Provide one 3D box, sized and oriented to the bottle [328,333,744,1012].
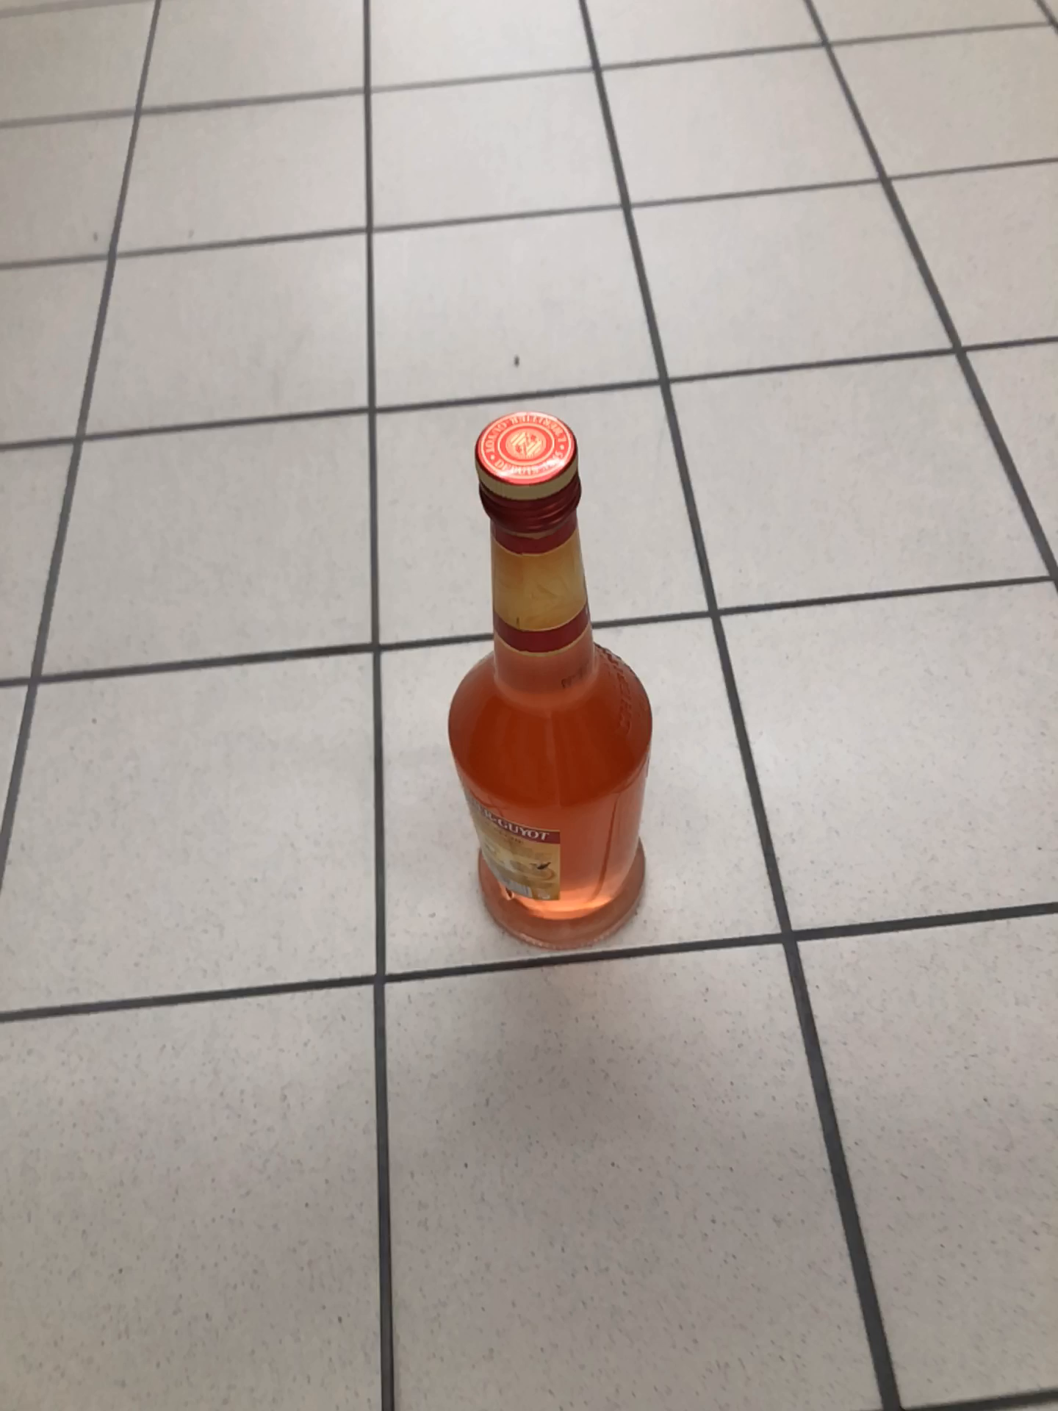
[{"bbox_3d":[0.010,0.012,0.480,0.090,0.298,0.090,-2,55,3],"label":"bottle"}]
